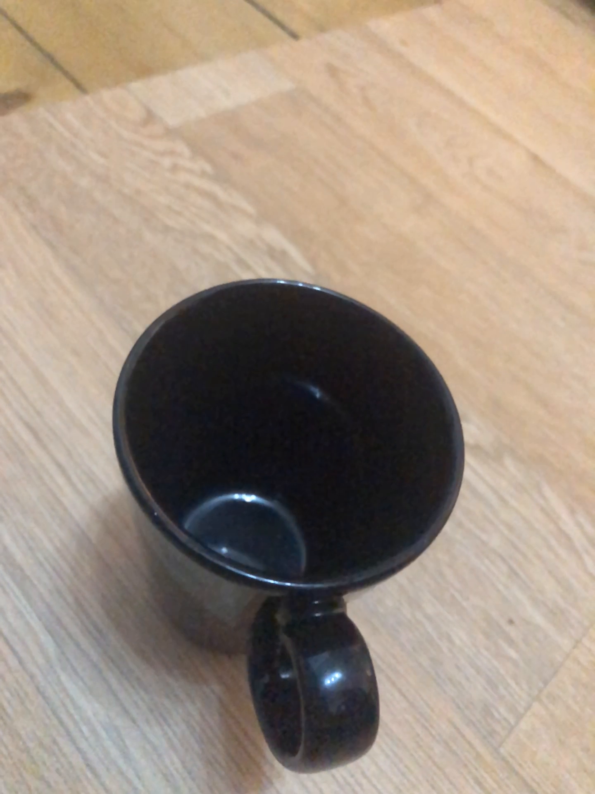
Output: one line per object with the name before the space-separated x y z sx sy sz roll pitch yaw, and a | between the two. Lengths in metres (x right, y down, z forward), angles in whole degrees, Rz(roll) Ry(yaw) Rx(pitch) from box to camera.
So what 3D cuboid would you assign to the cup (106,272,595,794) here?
cup | -0.002 0.041 0.185 0.090 0.090 0.120 -3 57 -16
